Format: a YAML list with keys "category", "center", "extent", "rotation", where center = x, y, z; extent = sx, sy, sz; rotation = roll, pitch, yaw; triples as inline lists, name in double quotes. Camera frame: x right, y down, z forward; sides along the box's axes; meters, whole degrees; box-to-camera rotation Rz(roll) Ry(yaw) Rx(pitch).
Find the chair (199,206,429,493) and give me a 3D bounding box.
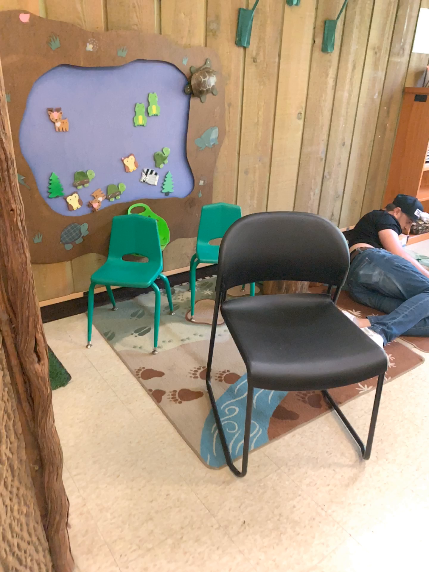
- category: "chair"
  center: [0.293, 0.179, 1.573]
  extent: [0.590, 0.786, 0.573]
  rotation: [-3, 25, -12]
